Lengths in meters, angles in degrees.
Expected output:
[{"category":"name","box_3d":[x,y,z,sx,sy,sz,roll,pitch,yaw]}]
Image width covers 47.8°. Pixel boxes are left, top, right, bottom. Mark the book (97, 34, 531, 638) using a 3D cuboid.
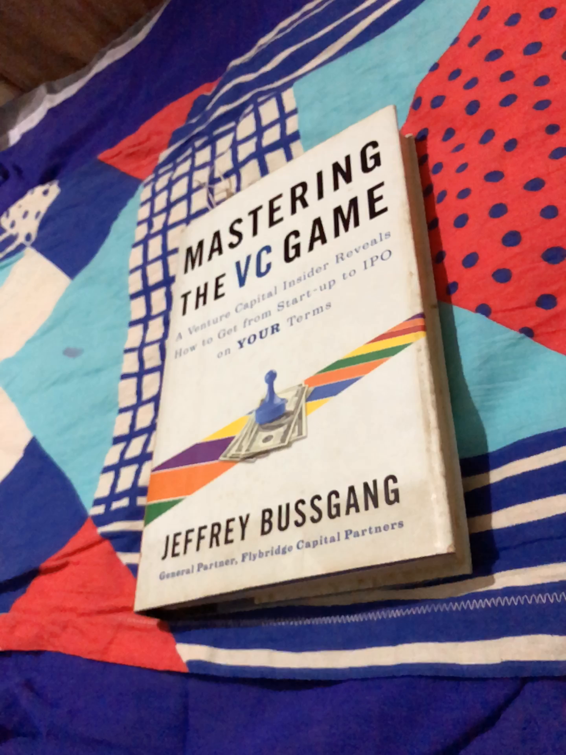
[{"category":"book","box_3d":[0.003,-0.025,0.332,0.181,0.050,0.280,-21,53,32]}]
